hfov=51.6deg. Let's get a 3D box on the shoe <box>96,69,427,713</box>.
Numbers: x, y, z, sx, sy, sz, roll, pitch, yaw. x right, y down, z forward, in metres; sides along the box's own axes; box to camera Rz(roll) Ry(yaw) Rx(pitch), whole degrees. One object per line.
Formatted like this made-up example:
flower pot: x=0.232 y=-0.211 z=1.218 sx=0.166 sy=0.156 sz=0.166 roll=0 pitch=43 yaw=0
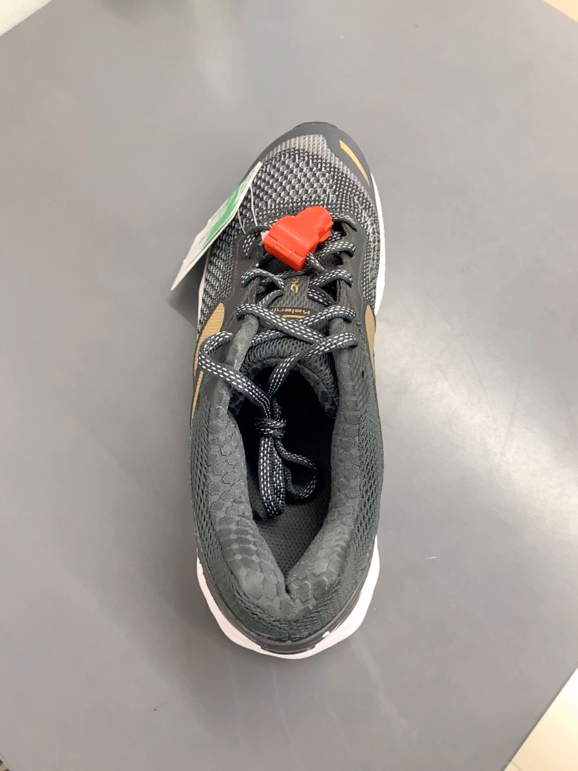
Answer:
shoe: x=0.000 y=-0.005 z=0.261 sx=0.100 sy=0.090 sz=0.240 roll=4 pitch=72 yaw=1
